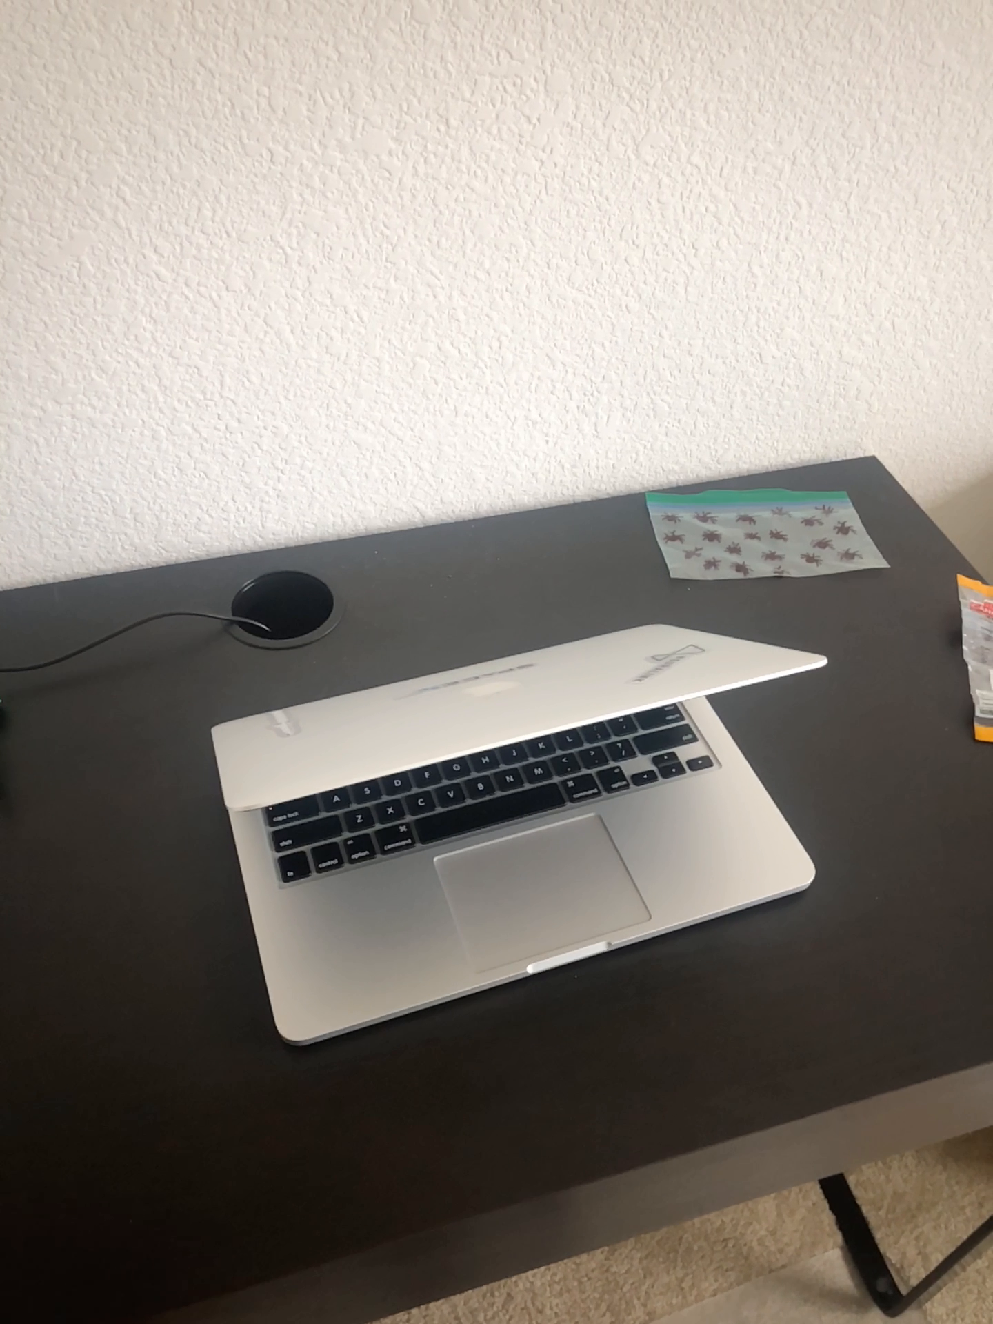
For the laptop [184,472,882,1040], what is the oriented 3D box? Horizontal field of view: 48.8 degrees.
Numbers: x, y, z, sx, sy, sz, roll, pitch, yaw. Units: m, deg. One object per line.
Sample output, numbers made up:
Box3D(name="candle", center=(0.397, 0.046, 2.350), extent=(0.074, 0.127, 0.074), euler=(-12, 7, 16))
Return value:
Box3D(name="laptop", center=(0.005, 0.036, 0.620), extent=(0.309, 0.133, 0.225), euler=(-13, 47, -15))
